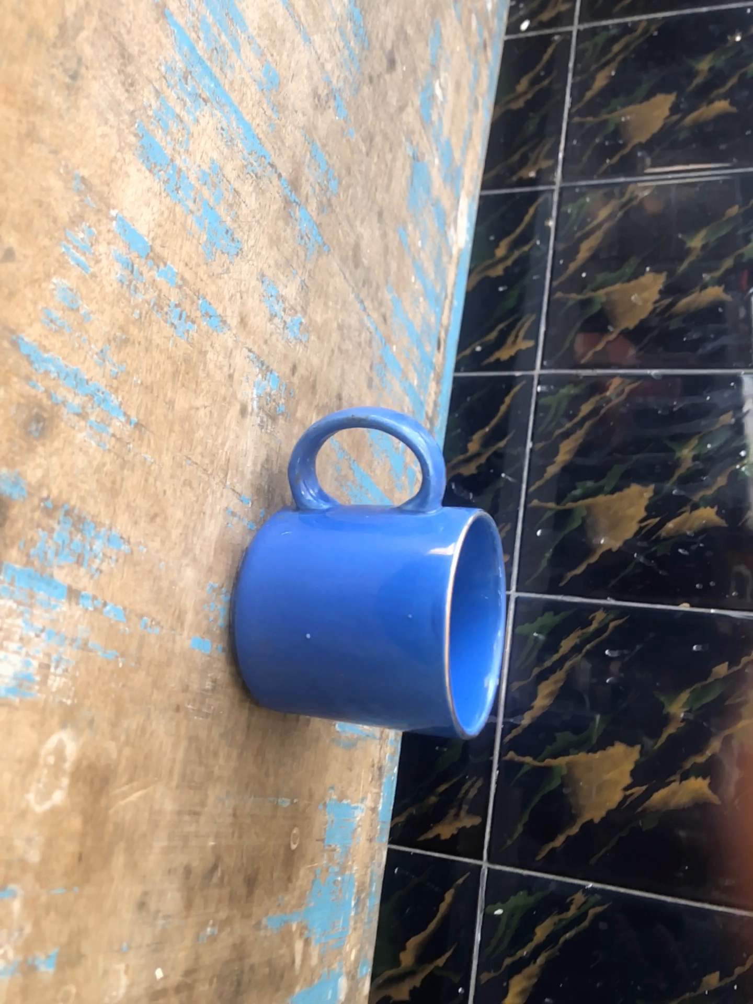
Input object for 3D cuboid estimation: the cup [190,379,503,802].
[{"bbox_3d":[-0.003,0.021,0.264,0.070,0.070,0.110,-35,124,-65],"label":"cup"}]
